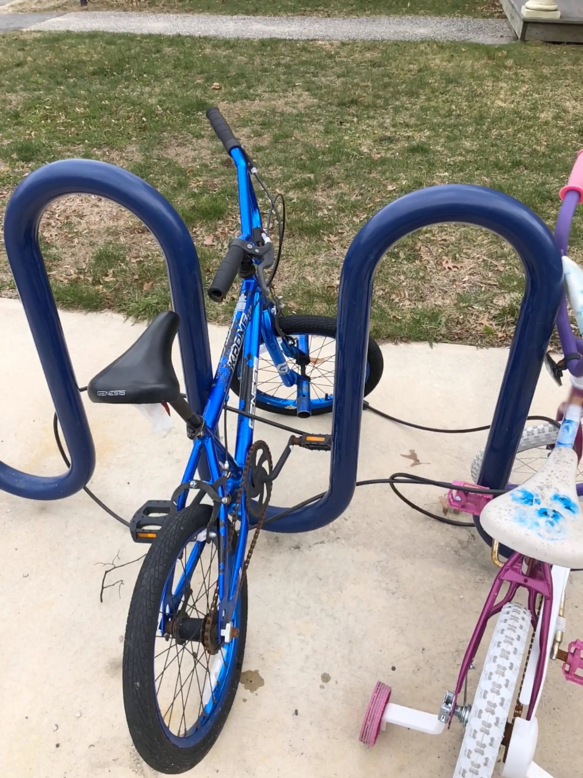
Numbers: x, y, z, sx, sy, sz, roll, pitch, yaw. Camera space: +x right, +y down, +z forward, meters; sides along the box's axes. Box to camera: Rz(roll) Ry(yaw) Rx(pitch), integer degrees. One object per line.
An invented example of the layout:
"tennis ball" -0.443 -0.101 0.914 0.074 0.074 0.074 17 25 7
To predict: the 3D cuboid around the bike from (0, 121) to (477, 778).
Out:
"bike" -0.123 0.065 1.229 0.621 0.840 1.035 12 38 16
